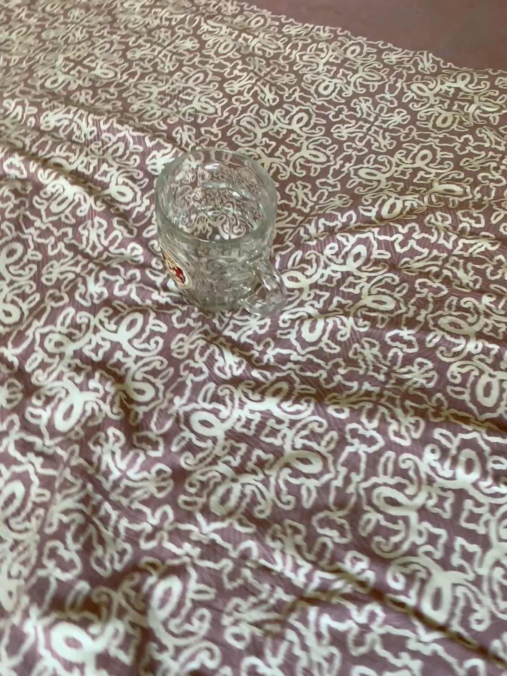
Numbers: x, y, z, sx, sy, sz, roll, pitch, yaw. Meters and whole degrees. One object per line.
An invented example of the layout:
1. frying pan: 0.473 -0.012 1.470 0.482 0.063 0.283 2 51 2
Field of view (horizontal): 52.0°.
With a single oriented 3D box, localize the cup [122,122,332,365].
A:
1. cup: -0.020 -0.070 0.402 0.090 0.109 0.120 -34 66 -16
